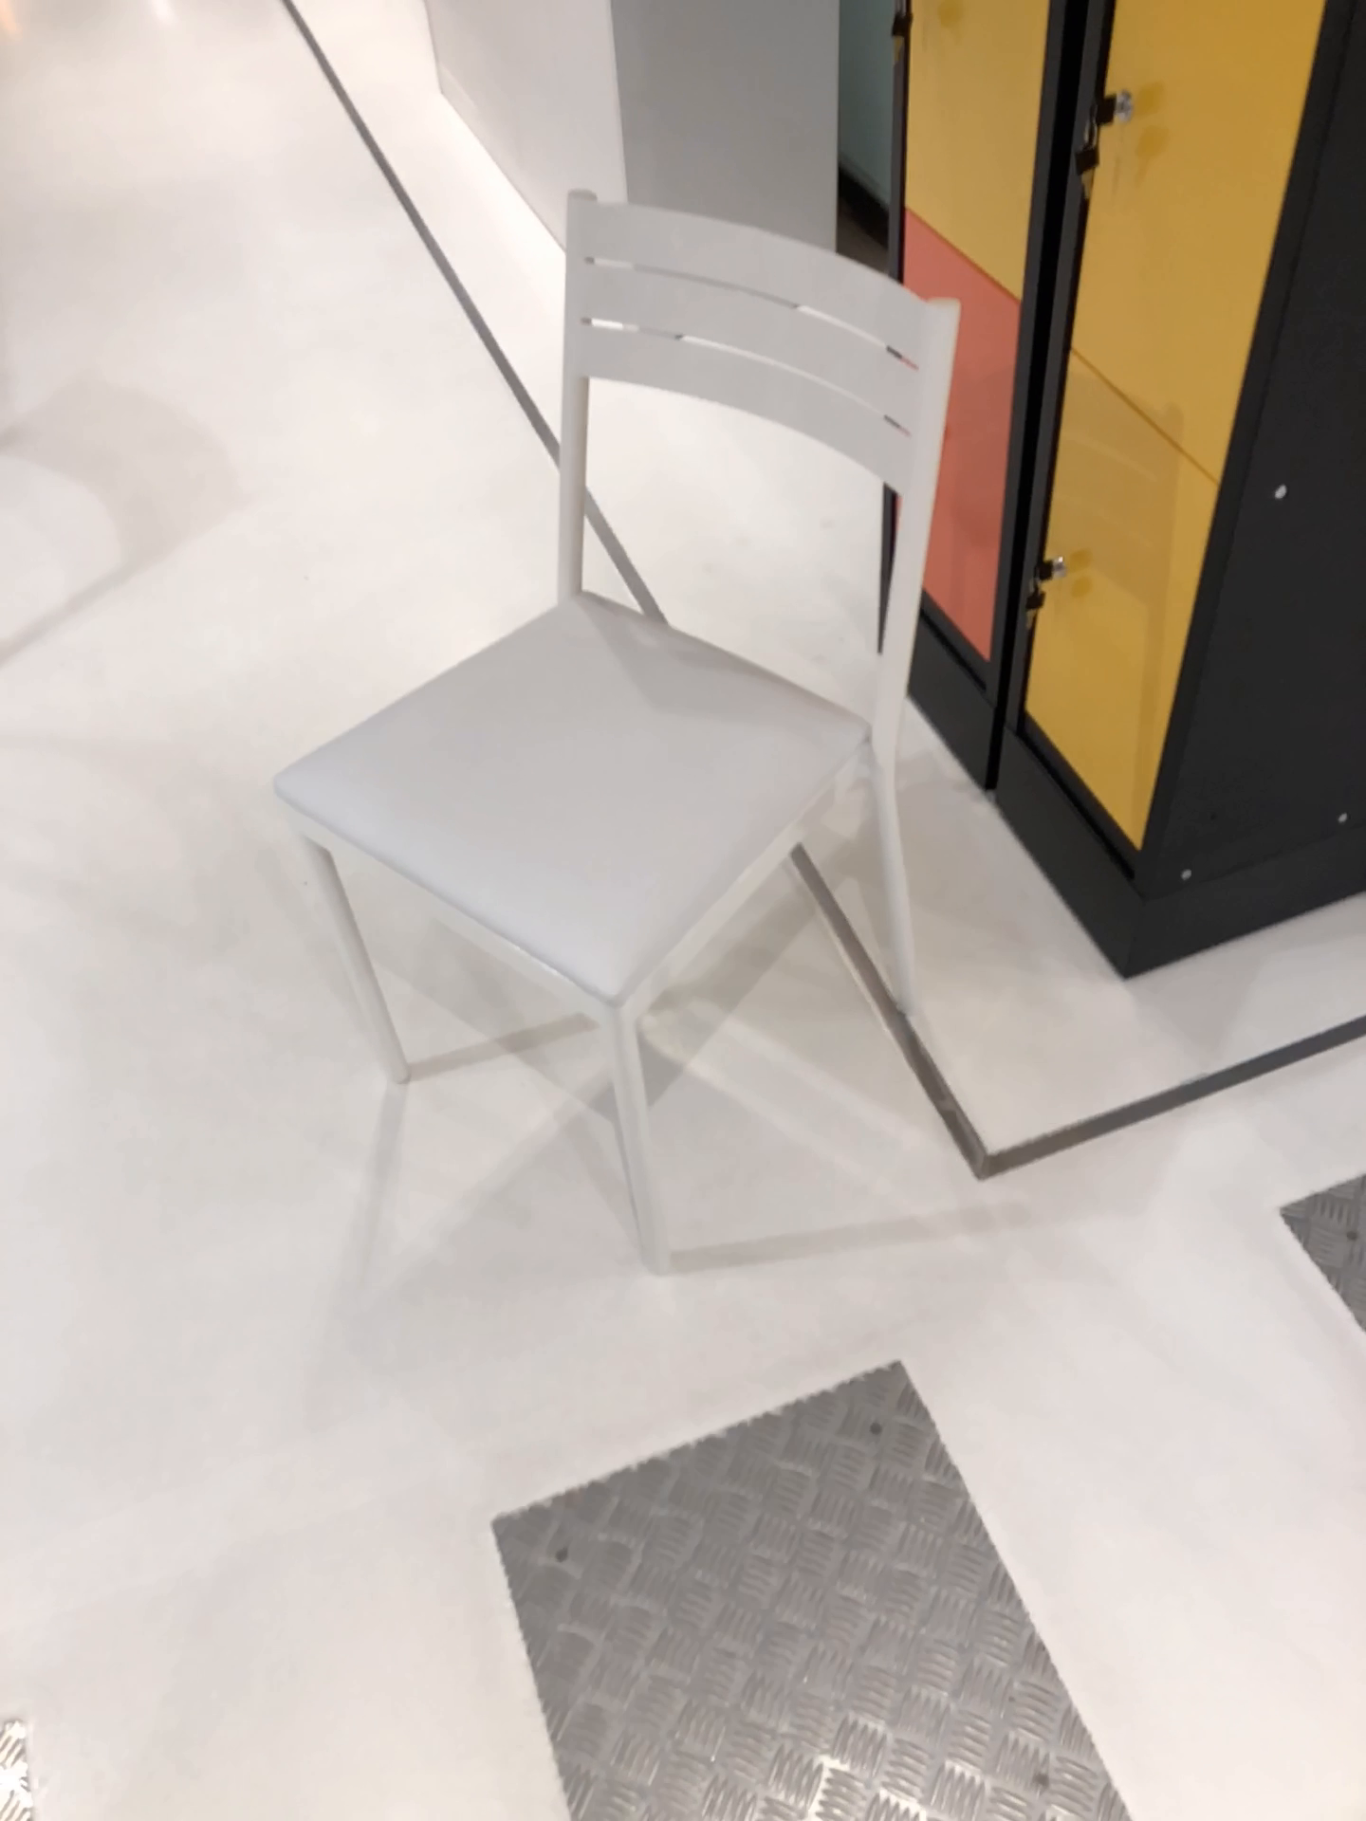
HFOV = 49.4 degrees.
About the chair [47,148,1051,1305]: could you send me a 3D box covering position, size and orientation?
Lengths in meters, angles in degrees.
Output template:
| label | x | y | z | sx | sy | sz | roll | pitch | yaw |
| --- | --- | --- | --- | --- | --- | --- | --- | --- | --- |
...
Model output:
| label | x | y | z | sx | sy | sz | roll | pitch | yaw |
| --- | --- | --- | --- | --- | --- | --- | --- | --- | --- |
| chair | -0.063 | -0.150 | 1.323 | 0.481 | 0.735 | 0.532 | 31 | 58 | 28 |
